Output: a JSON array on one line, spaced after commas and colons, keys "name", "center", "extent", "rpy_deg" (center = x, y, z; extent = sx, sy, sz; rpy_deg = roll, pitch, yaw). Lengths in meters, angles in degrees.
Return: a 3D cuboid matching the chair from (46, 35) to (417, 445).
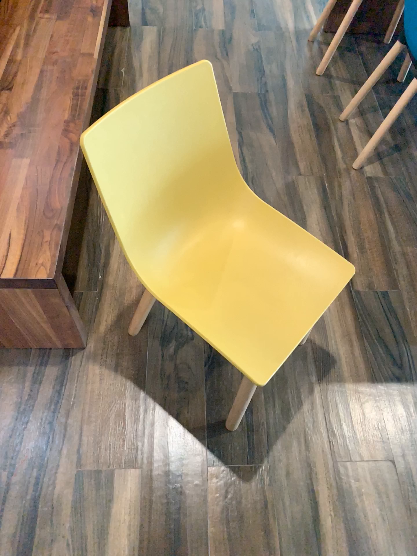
[{"name": "chair", "center": [0.053, -0.028, 1.004], "extent": [0.501, 0.716, 0.452], "rpy_deg": [37, 62, 18]}]
